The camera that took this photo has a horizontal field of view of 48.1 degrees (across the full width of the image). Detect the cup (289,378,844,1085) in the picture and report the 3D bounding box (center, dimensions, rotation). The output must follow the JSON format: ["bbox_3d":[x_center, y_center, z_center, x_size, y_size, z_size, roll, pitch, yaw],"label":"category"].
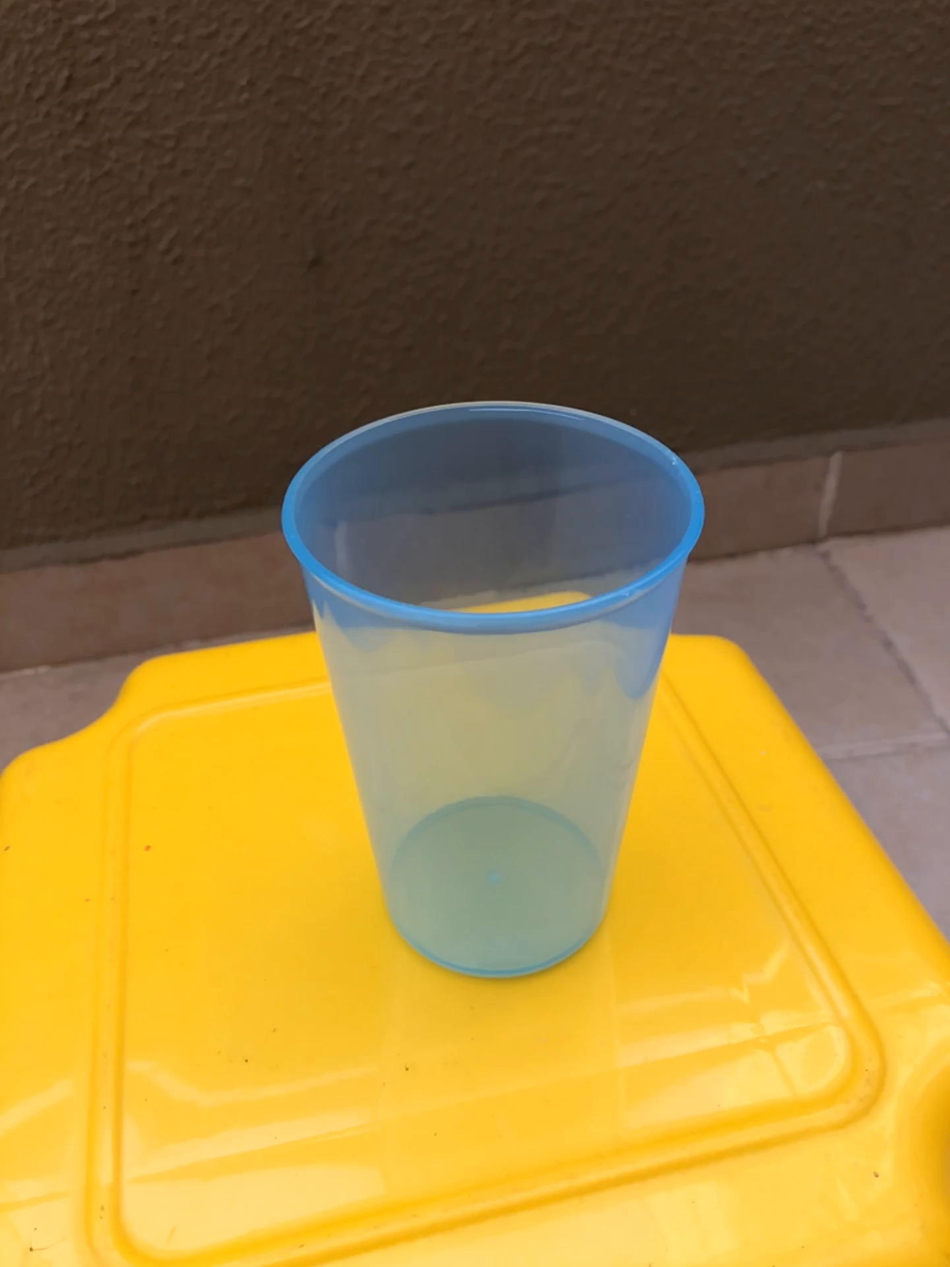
[{"bbox_3d":[0.012,0.017,0.214,0.070,0.099,0.080,-13,39,-14],"label":"cup"}]
